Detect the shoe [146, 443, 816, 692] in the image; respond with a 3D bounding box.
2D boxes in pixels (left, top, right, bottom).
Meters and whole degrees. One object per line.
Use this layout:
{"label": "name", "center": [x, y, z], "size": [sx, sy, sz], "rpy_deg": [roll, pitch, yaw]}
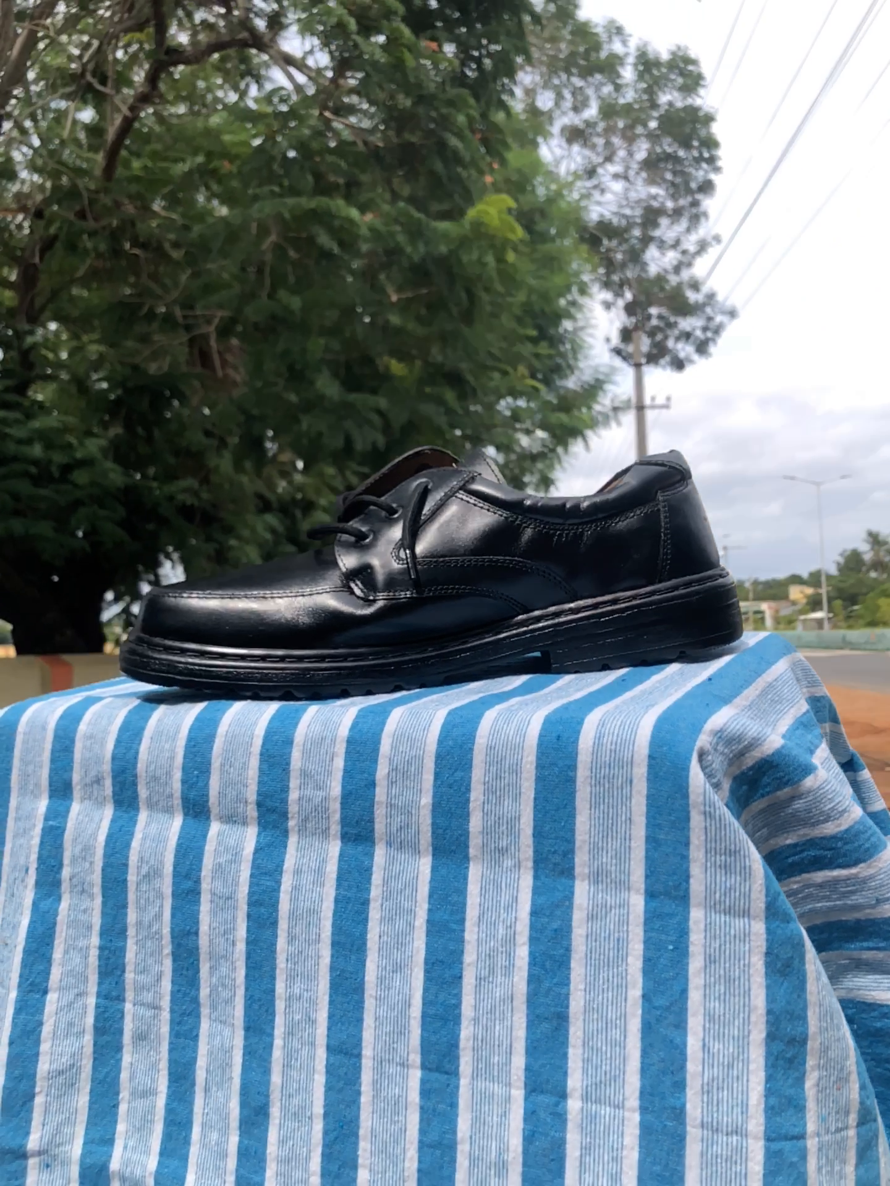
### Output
{"label": "shoe", "center": [0.016, -0.014, 0.484], "size": [0.290, 0.100, 0.110], "rpy_deg": [-2, 1, -4]}
